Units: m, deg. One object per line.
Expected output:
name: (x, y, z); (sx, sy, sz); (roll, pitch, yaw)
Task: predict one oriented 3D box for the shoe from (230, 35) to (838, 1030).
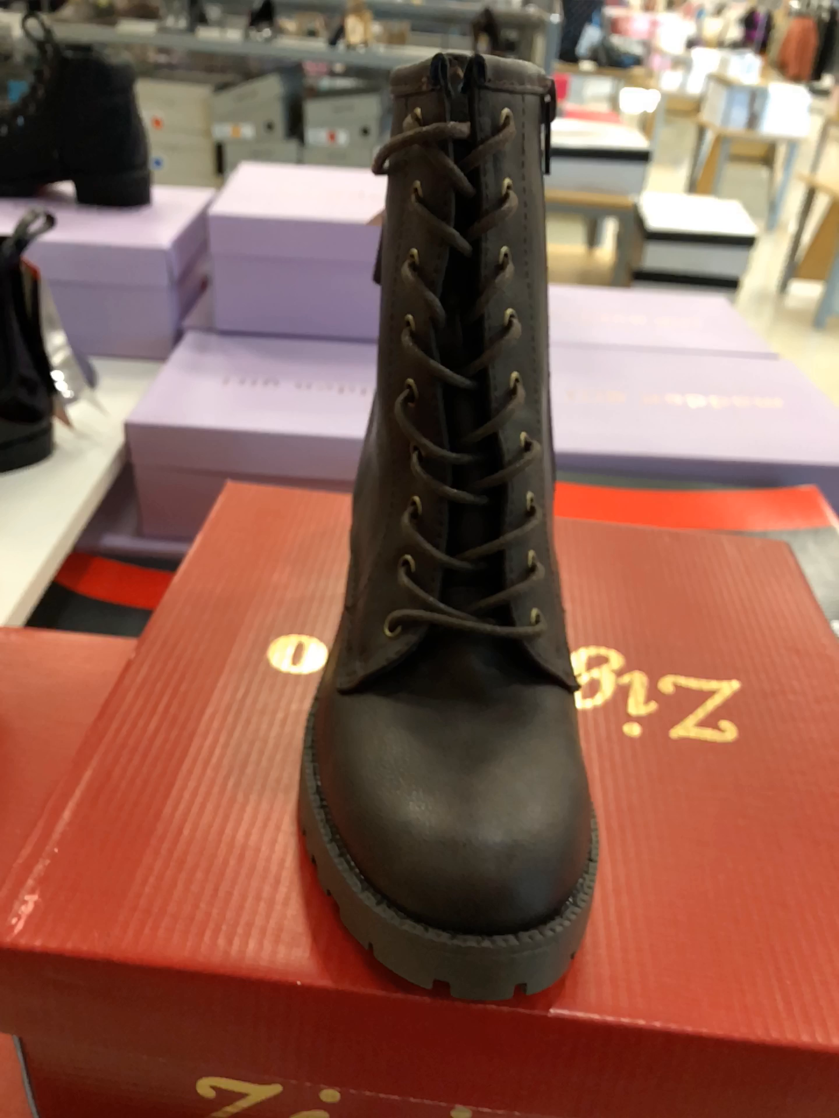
shoe: (0.011, -0.031, 0.299); (0.100, 0.218, 0.242); (3, 32, -4)
